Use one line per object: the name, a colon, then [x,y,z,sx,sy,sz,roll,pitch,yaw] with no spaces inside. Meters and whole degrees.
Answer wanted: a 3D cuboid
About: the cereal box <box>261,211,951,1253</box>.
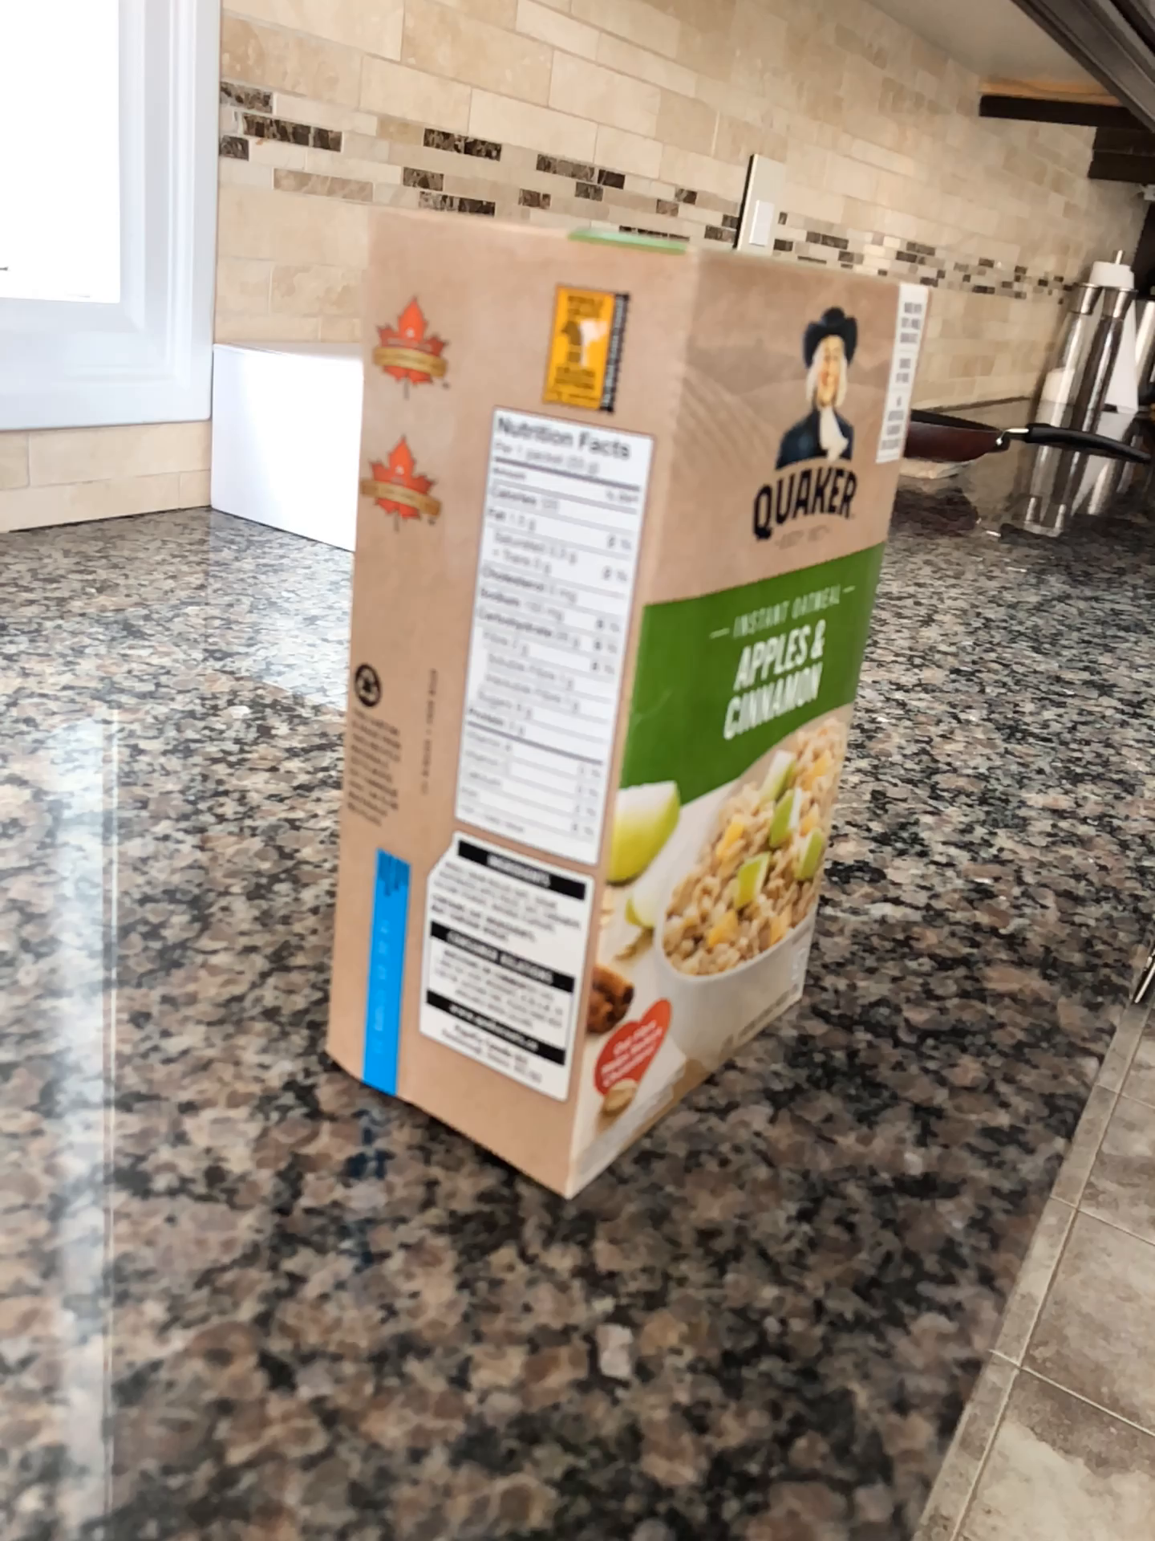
cereal box: [0.005,-0.017,0.323,0.090,0.209,0.130,21,25,29]
